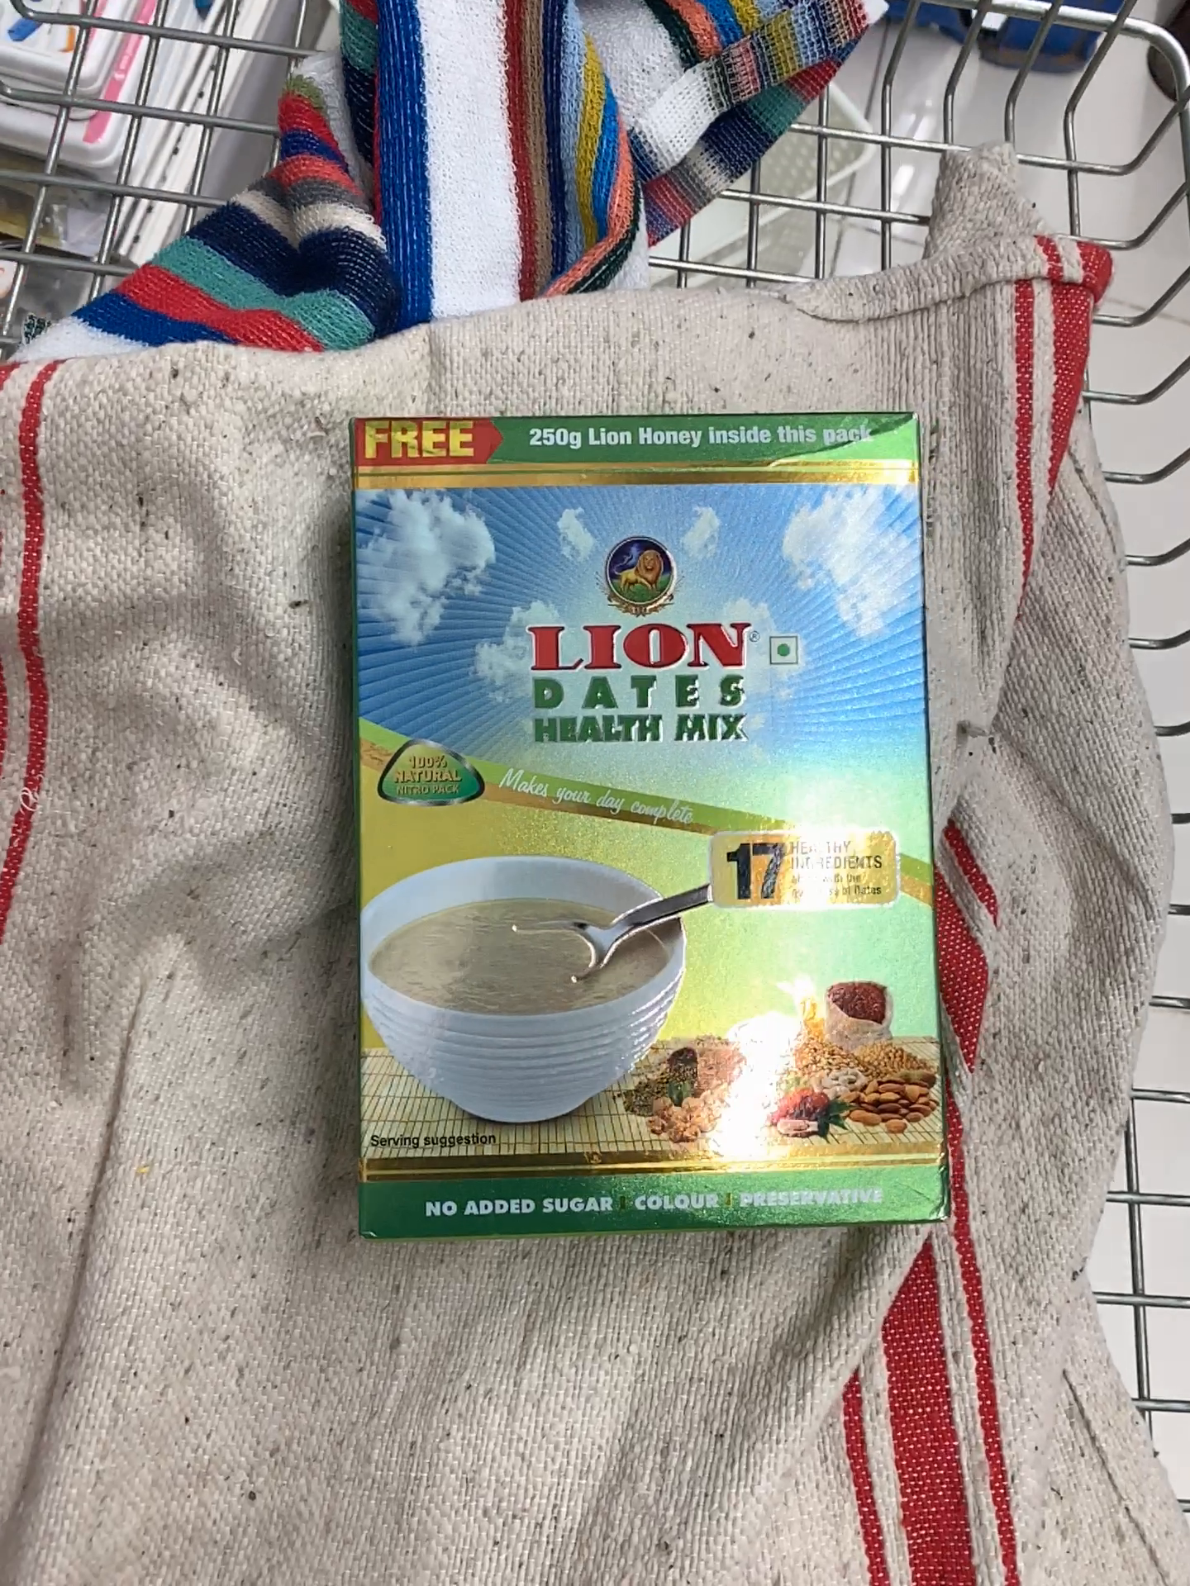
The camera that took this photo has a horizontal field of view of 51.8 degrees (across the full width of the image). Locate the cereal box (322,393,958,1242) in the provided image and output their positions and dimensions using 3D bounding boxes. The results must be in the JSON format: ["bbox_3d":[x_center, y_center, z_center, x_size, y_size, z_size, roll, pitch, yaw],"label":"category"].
[{"bbox_3d":[0.008,0.006,0.323,0.140,0.090,0.190,-1,87,-1],"label":"cereal box"}]
